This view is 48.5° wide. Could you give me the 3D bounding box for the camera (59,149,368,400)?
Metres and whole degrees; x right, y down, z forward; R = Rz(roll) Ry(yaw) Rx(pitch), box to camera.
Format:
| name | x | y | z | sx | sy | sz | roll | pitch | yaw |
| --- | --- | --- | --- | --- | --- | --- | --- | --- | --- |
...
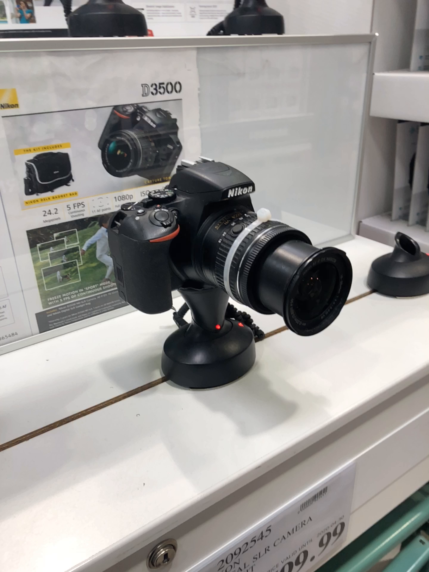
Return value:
| name | x | y | z | sx | sy | sz | roll | pitch | yaw |
| --- | --- | --- | --- | --- | --- | --- | --- | --- | --- |
| camera | -0.009 | -0.031 | 0.374 | 0.140 | 0.110 | 0.191 | -20 | 31 | -33 |
